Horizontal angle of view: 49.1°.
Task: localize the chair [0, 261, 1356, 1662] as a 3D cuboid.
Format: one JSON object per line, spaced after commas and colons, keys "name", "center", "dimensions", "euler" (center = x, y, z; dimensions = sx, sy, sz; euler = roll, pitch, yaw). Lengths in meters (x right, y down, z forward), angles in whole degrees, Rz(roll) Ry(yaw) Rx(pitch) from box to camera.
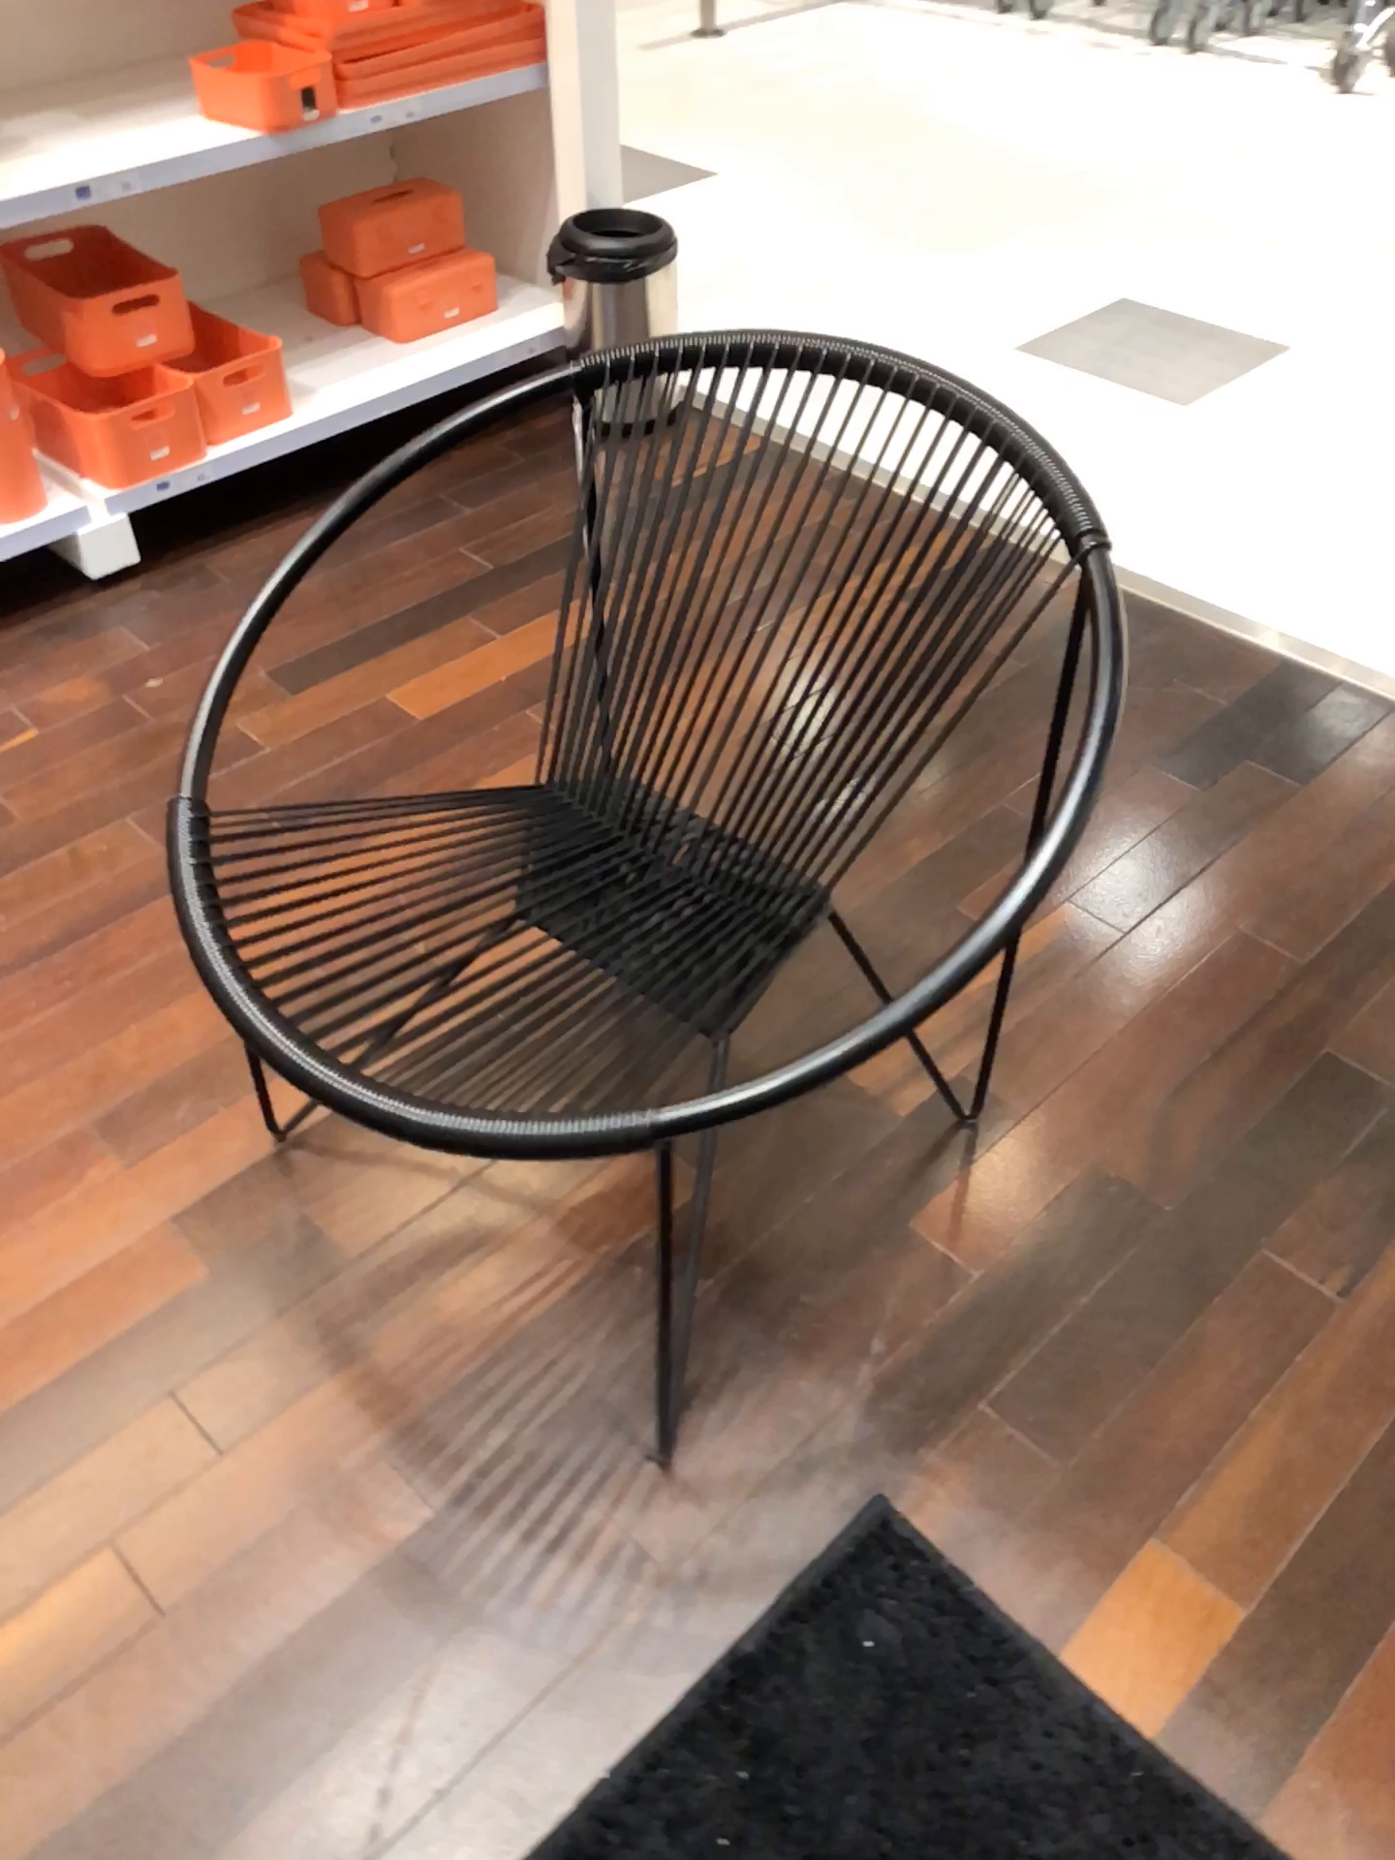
{"name": "chair", "center": [-0.032, -0.050, 1.292], "dimensions": [0.702, 0.675, 0.733], "euler": [31, 50, 31]}
